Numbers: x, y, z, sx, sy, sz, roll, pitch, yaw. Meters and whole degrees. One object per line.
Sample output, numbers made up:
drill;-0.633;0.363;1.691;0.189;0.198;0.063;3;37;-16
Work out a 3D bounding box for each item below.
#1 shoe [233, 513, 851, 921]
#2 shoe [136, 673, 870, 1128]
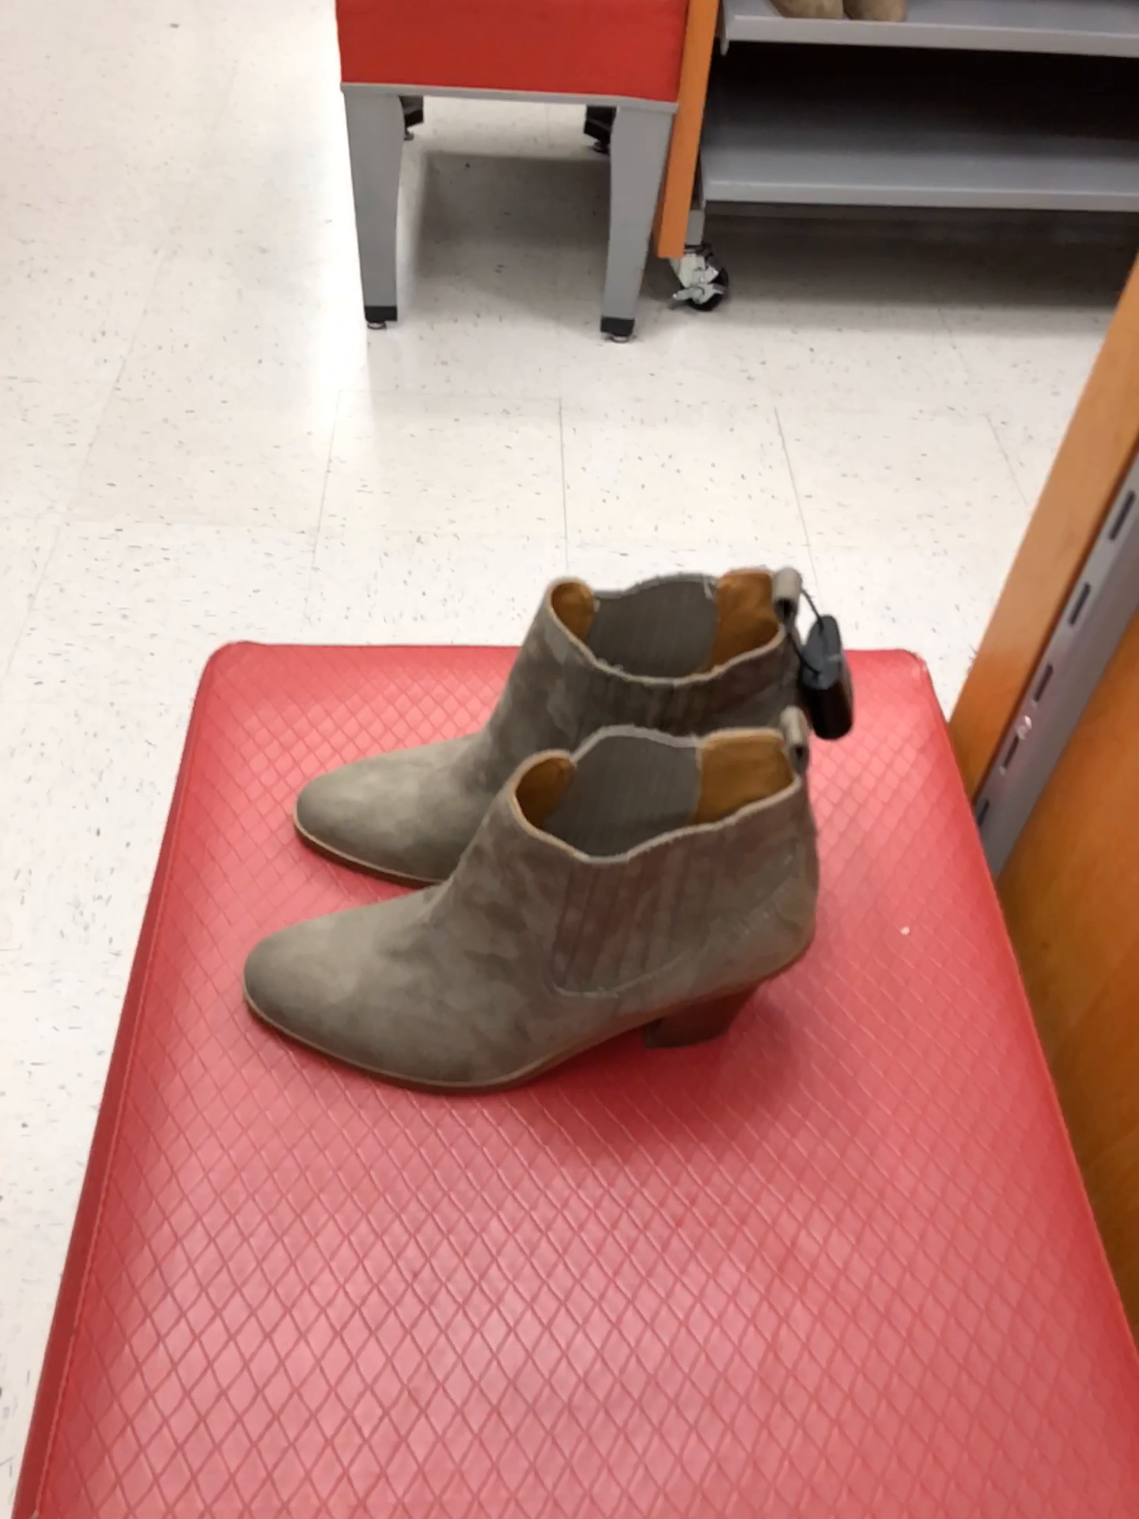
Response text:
shoe;-0.014;-0.016;0.594;0.250;0.160;0.097;3;48;-1
shoe;-0.025;0.062;0.515;0.250;0.150;0.107;3;48;-1
